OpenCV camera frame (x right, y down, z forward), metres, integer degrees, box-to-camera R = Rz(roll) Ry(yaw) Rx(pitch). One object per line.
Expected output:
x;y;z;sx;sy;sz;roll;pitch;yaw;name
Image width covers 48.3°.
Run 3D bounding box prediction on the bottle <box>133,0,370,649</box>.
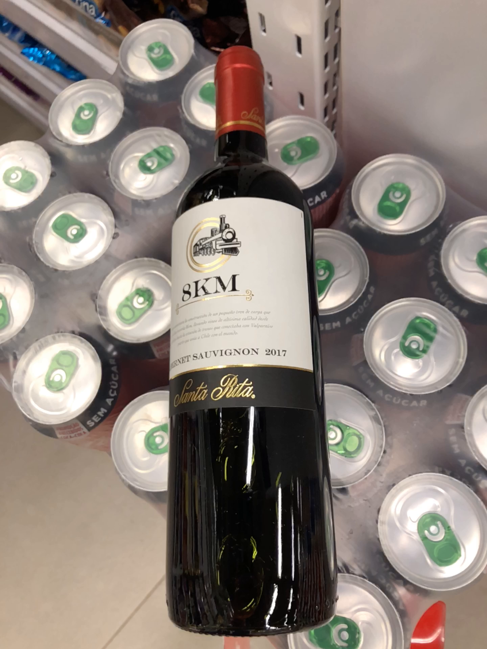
-0.001;-0.031;0.265;0.080;0.070;0.321;-5;71;6;bottle
